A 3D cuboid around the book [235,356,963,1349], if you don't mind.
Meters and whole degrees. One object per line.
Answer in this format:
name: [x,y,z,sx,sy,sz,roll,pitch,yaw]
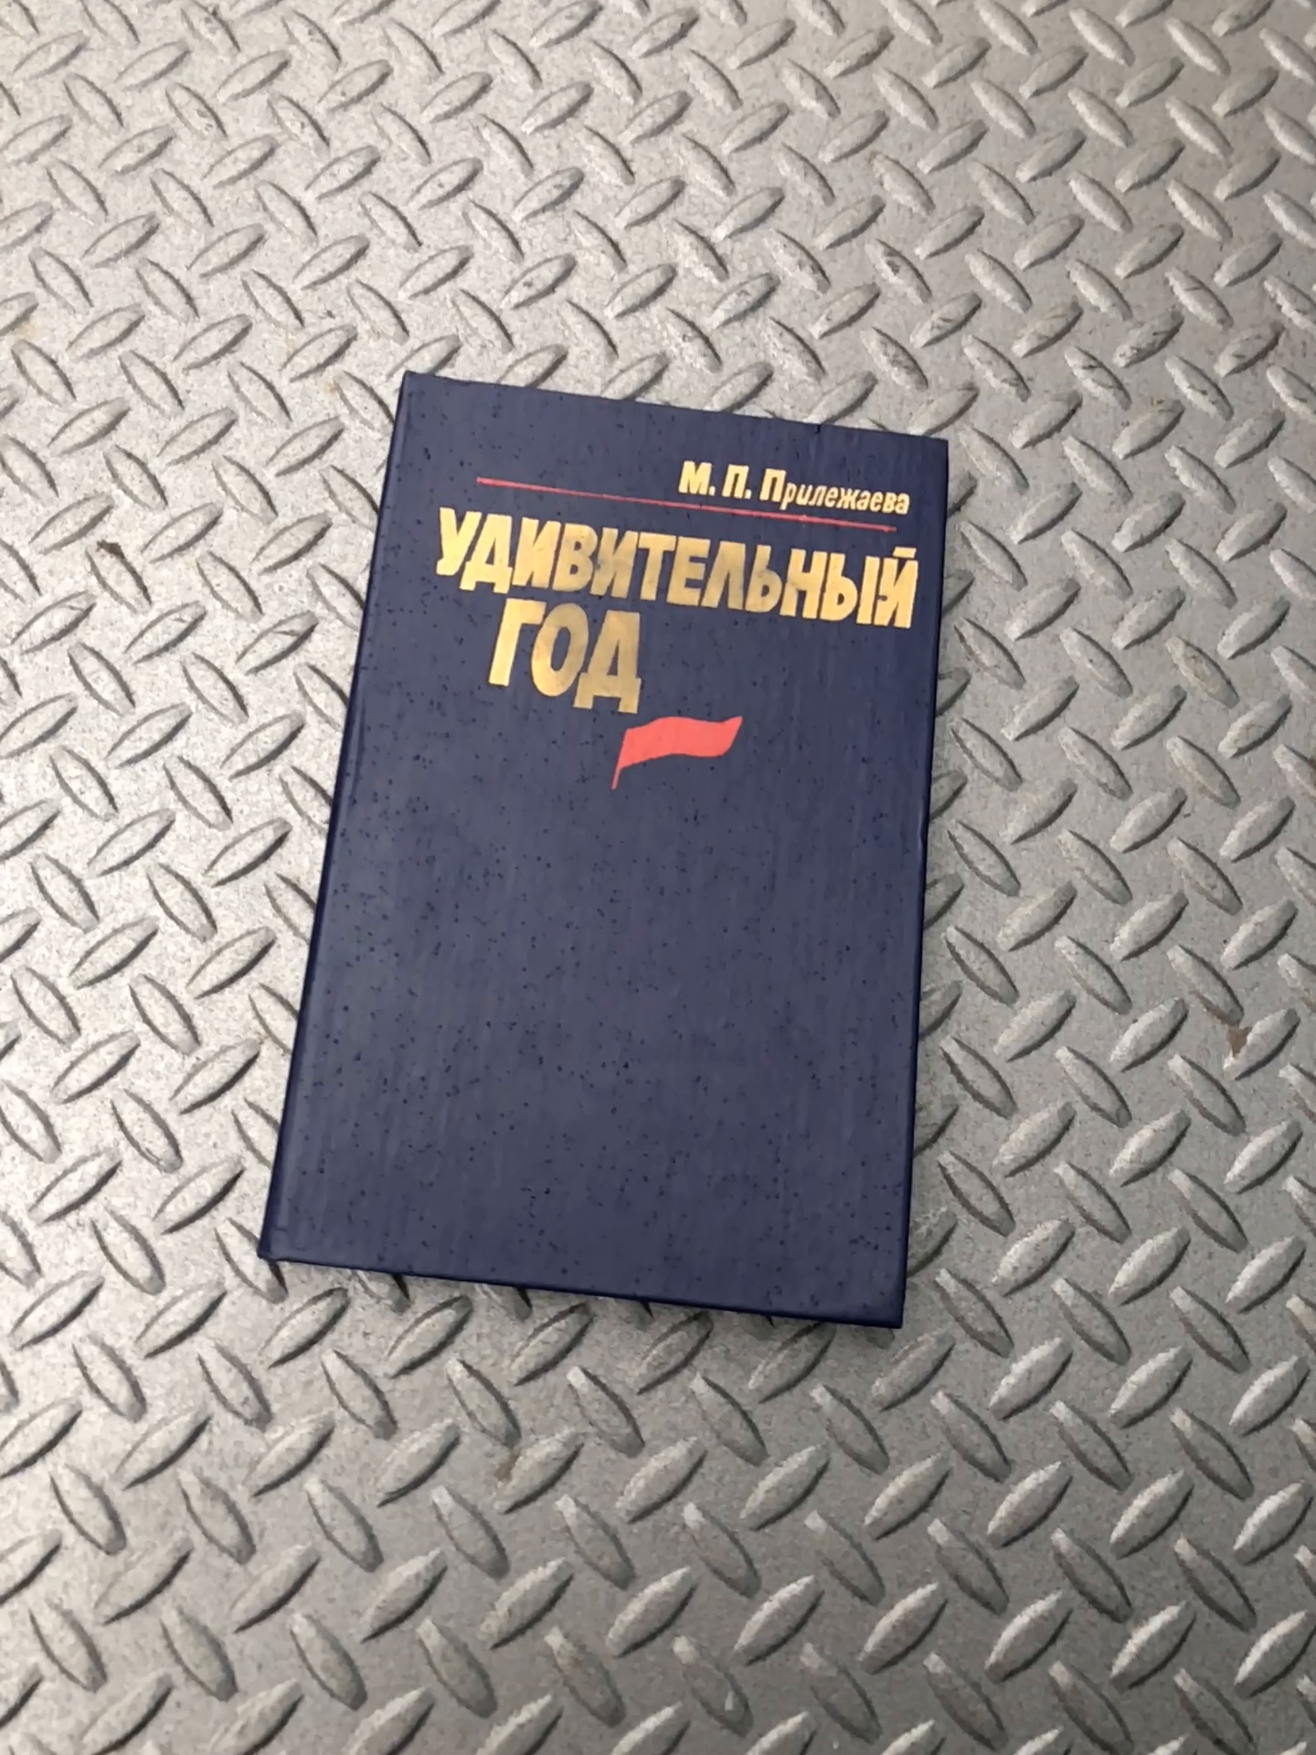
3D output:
book: [-0.007,-0.008,0.325,0.130,0.040,0.200,7,77,-1]
